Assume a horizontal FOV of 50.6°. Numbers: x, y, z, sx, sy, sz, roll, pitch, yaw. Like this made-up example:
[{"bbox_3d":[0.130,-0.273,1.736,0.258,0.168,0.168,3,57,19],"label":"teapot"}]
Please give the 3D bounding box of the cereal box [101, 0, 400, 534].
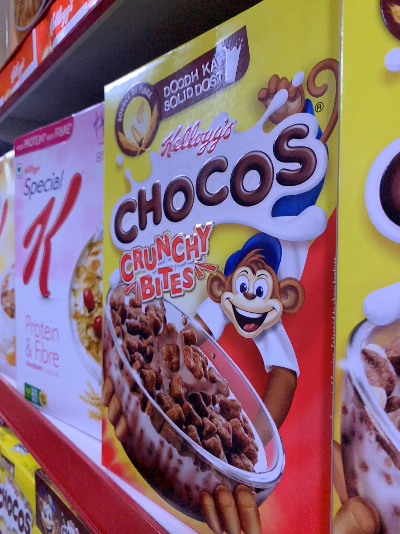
[{"bbox_3d":[0.035,0.005,0.236,0.190,0.260,0.080,1,-1,44],"label":"cereal box"}]
